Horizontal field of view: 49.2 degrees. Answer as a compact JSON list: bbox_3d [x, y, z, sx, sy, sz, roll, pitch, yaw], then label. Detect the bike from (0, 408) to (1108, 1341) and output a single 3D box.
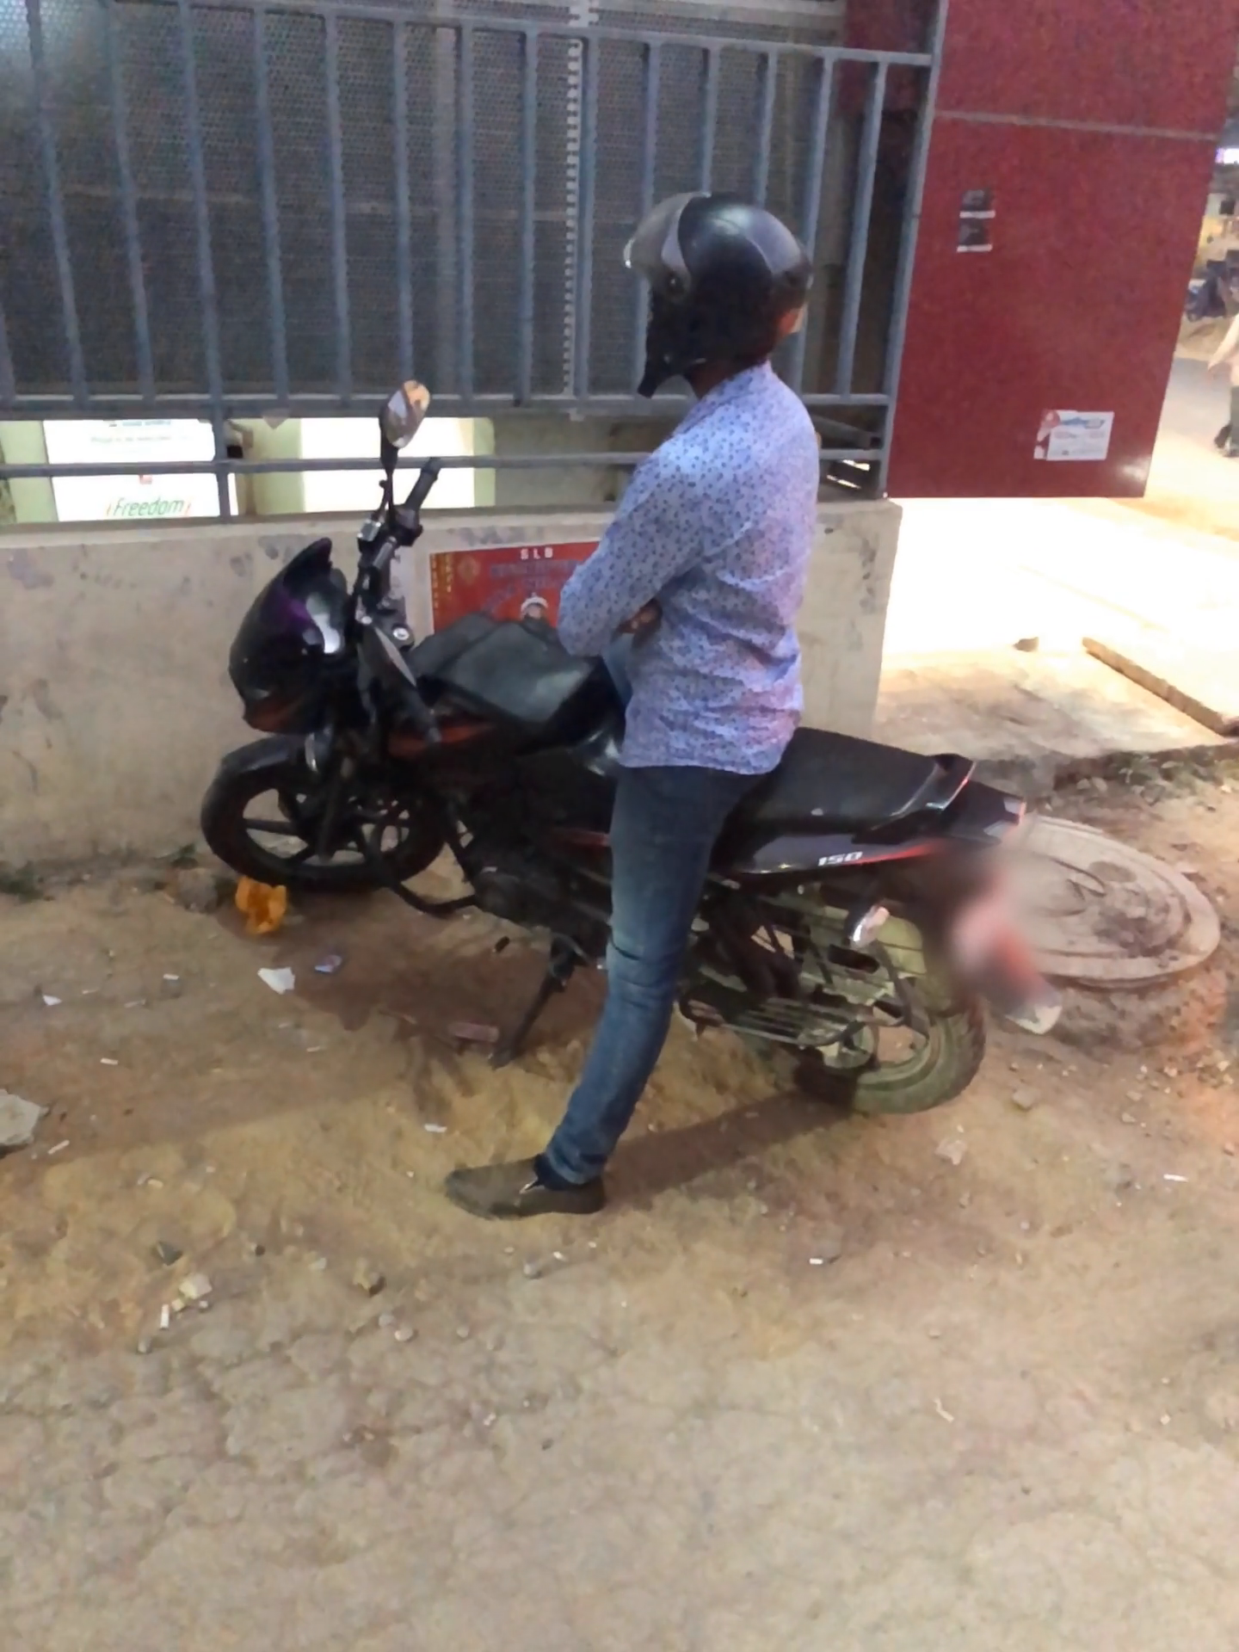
[{"bbox_3d":[-0.181,-0.045,2.587,1.801,1.144,0.749,15,27,23],"label":"bike"}]
